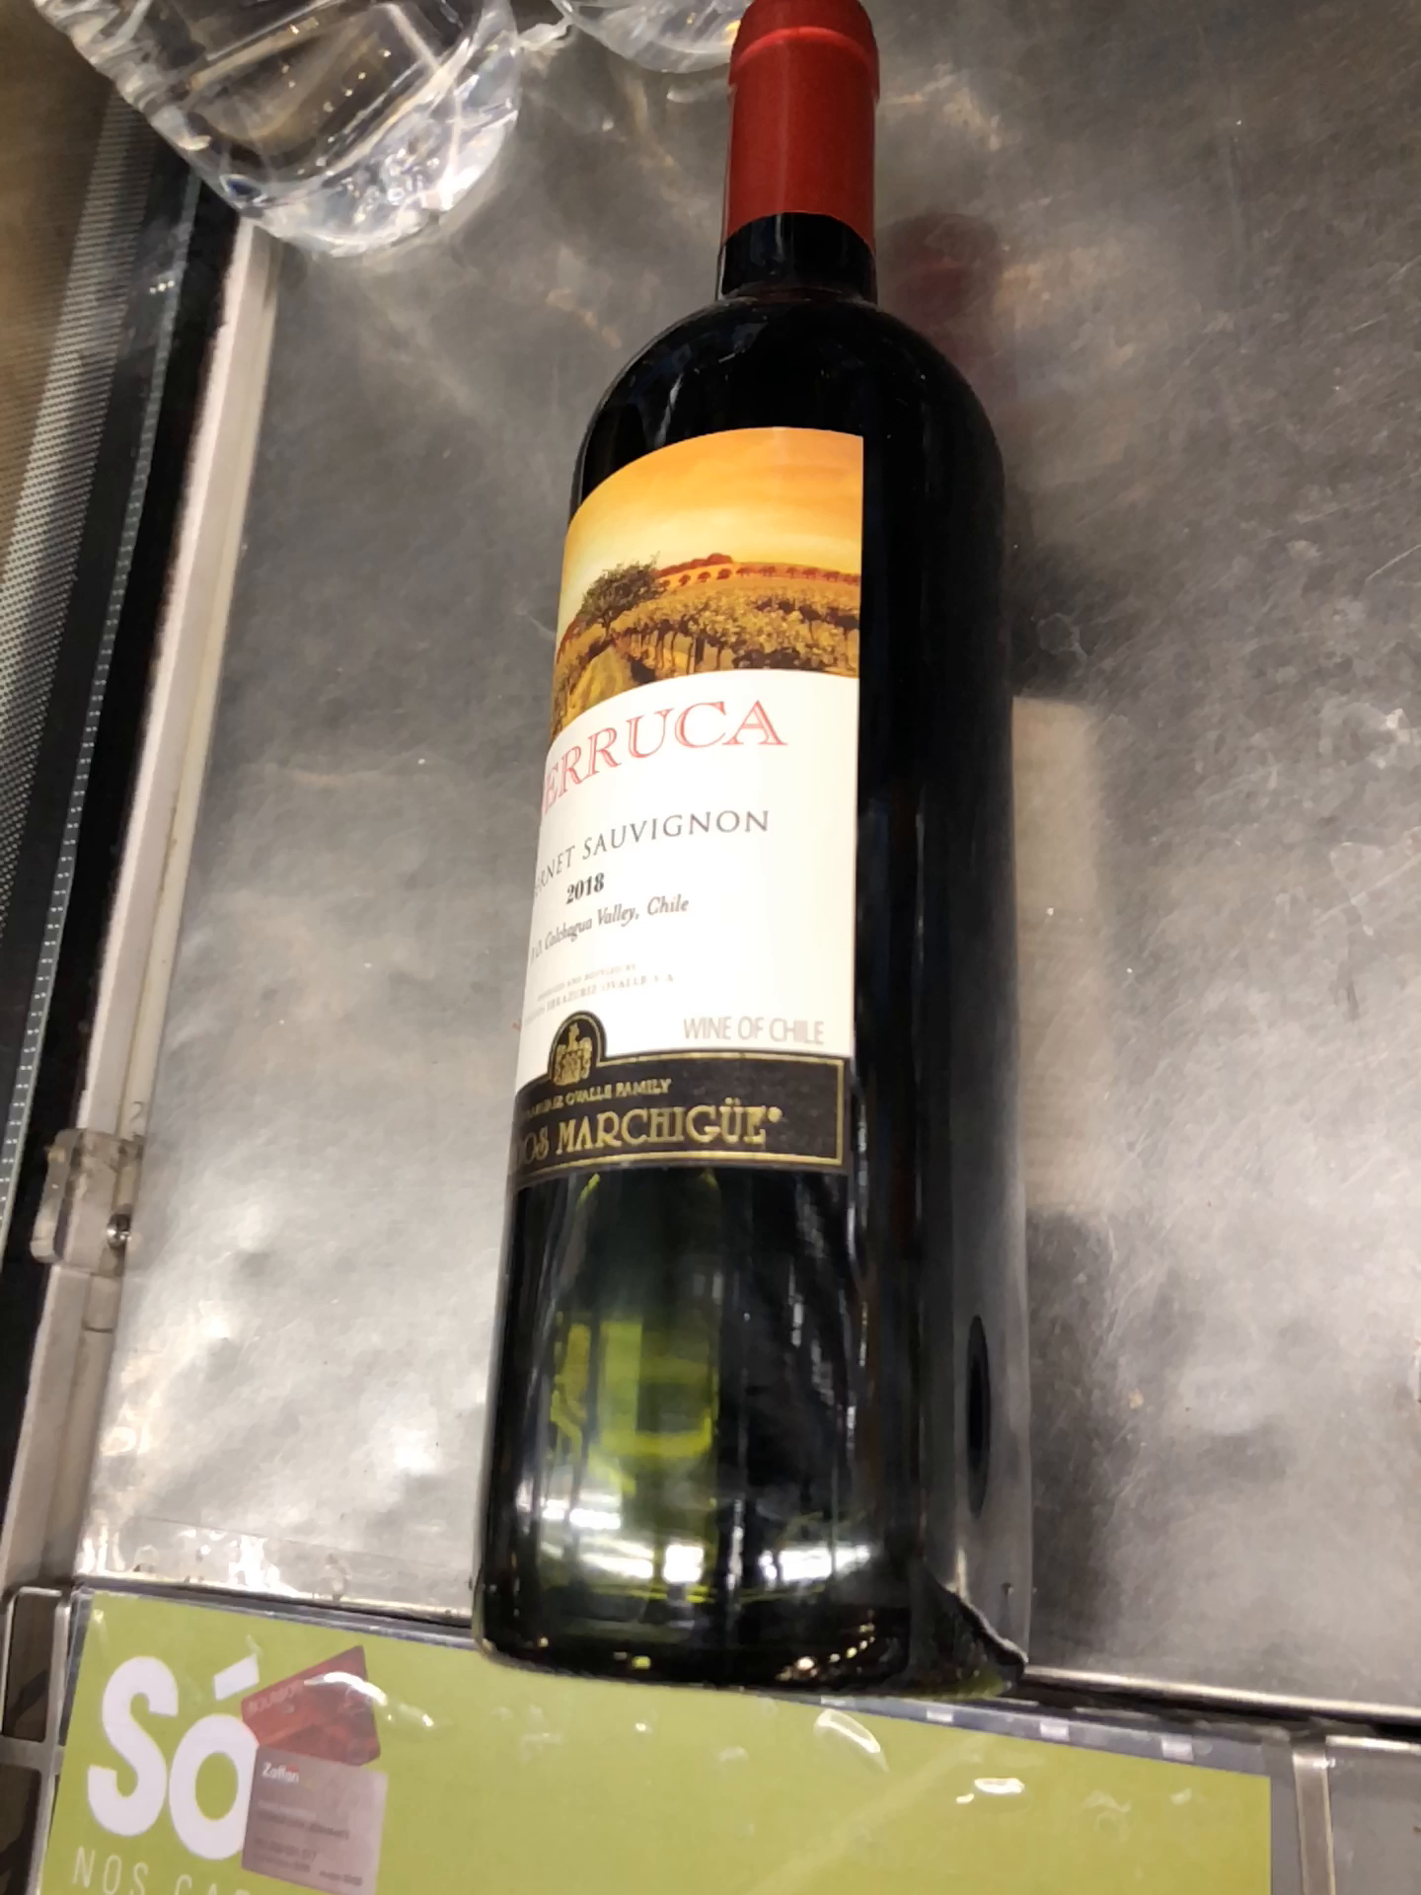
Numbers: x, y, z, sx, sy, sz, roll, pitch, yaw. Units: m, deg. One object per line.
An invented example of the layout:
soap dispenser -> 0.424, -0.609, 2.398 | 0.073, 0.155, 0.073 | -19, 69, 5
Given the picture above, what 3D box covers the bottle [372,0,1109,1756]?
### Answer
bottle -> 0.009, -0.051, 0.252 | 0.080, 0.050, 0.311 | -9, 69, 28
